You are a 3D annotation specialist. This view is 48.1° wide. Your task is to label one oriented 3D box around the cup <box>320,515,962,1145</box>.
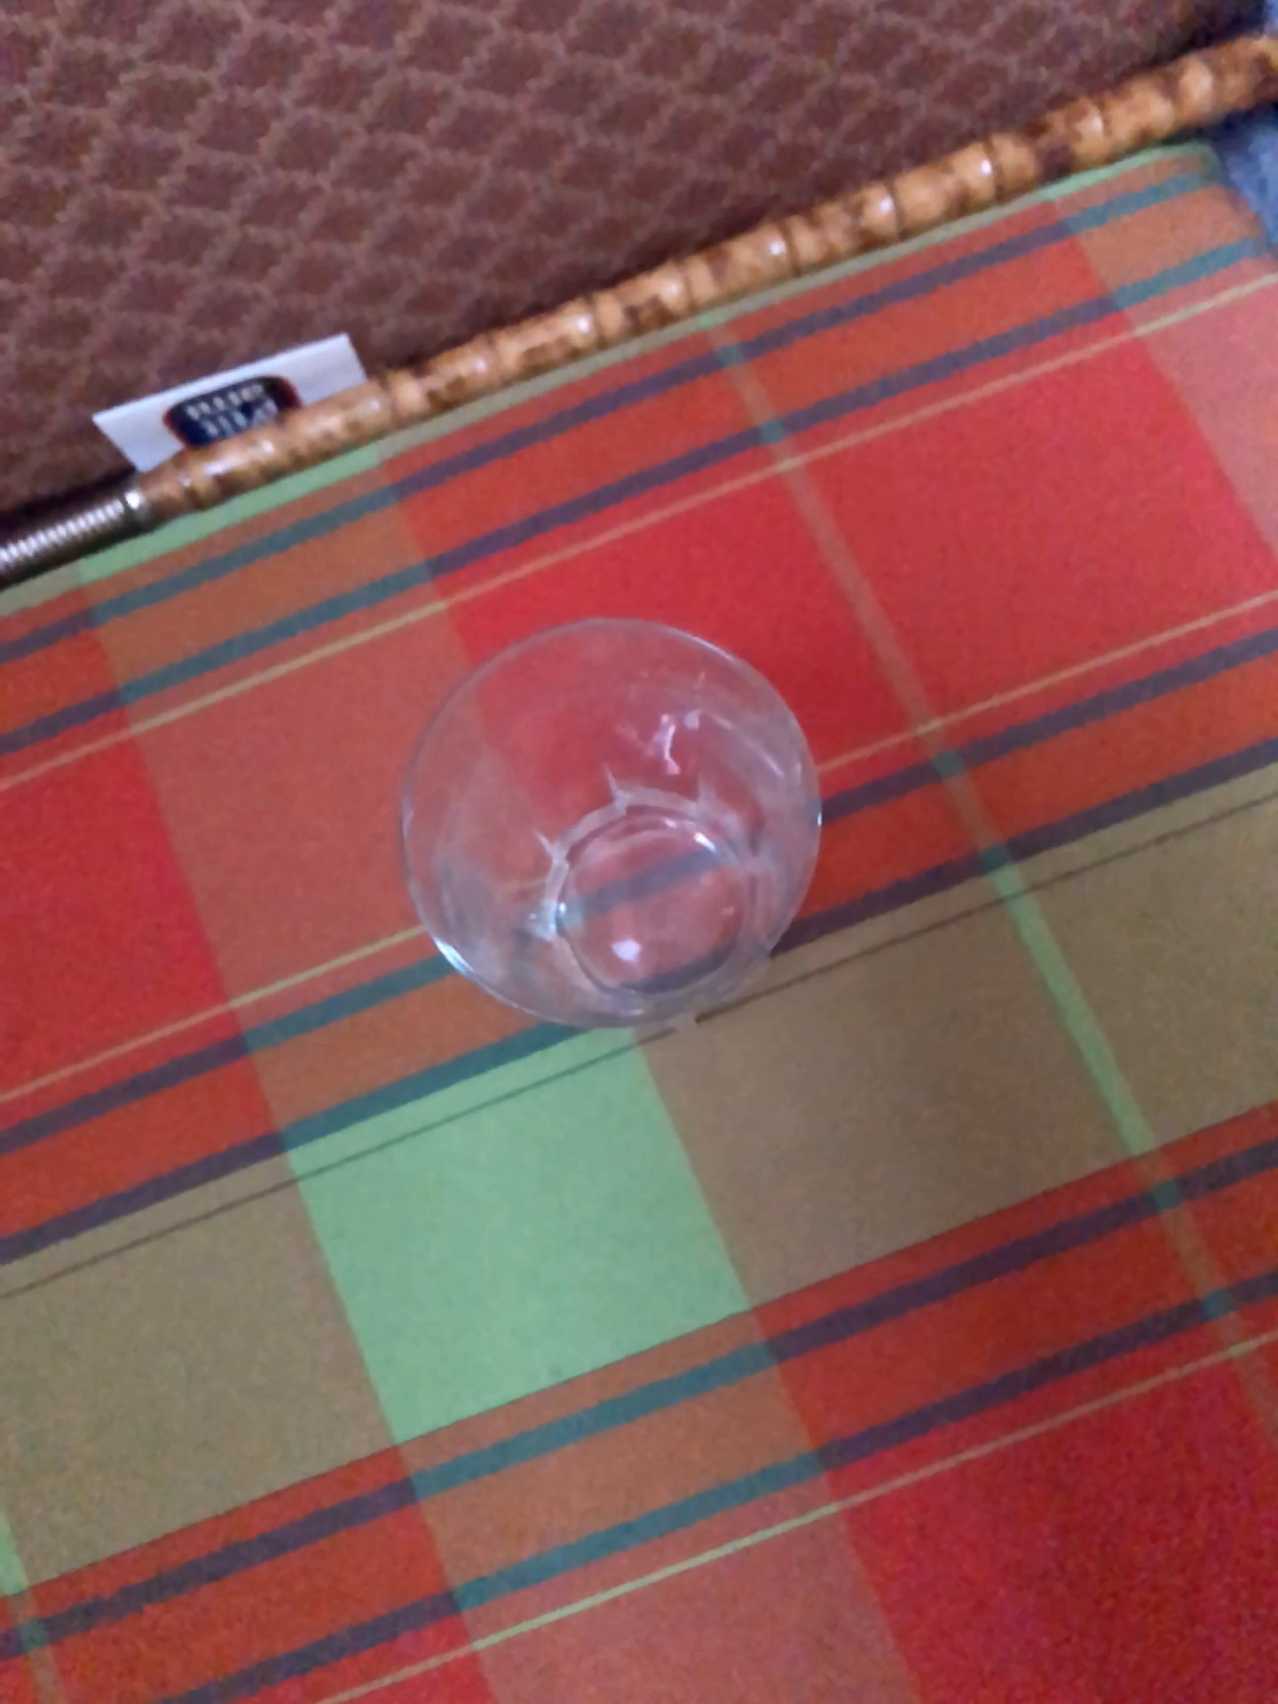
[{"bbox_3d":[0.002,0.002,0.259,0.070,0.080,0.070,-1,79,3],"label":"cup"}]
